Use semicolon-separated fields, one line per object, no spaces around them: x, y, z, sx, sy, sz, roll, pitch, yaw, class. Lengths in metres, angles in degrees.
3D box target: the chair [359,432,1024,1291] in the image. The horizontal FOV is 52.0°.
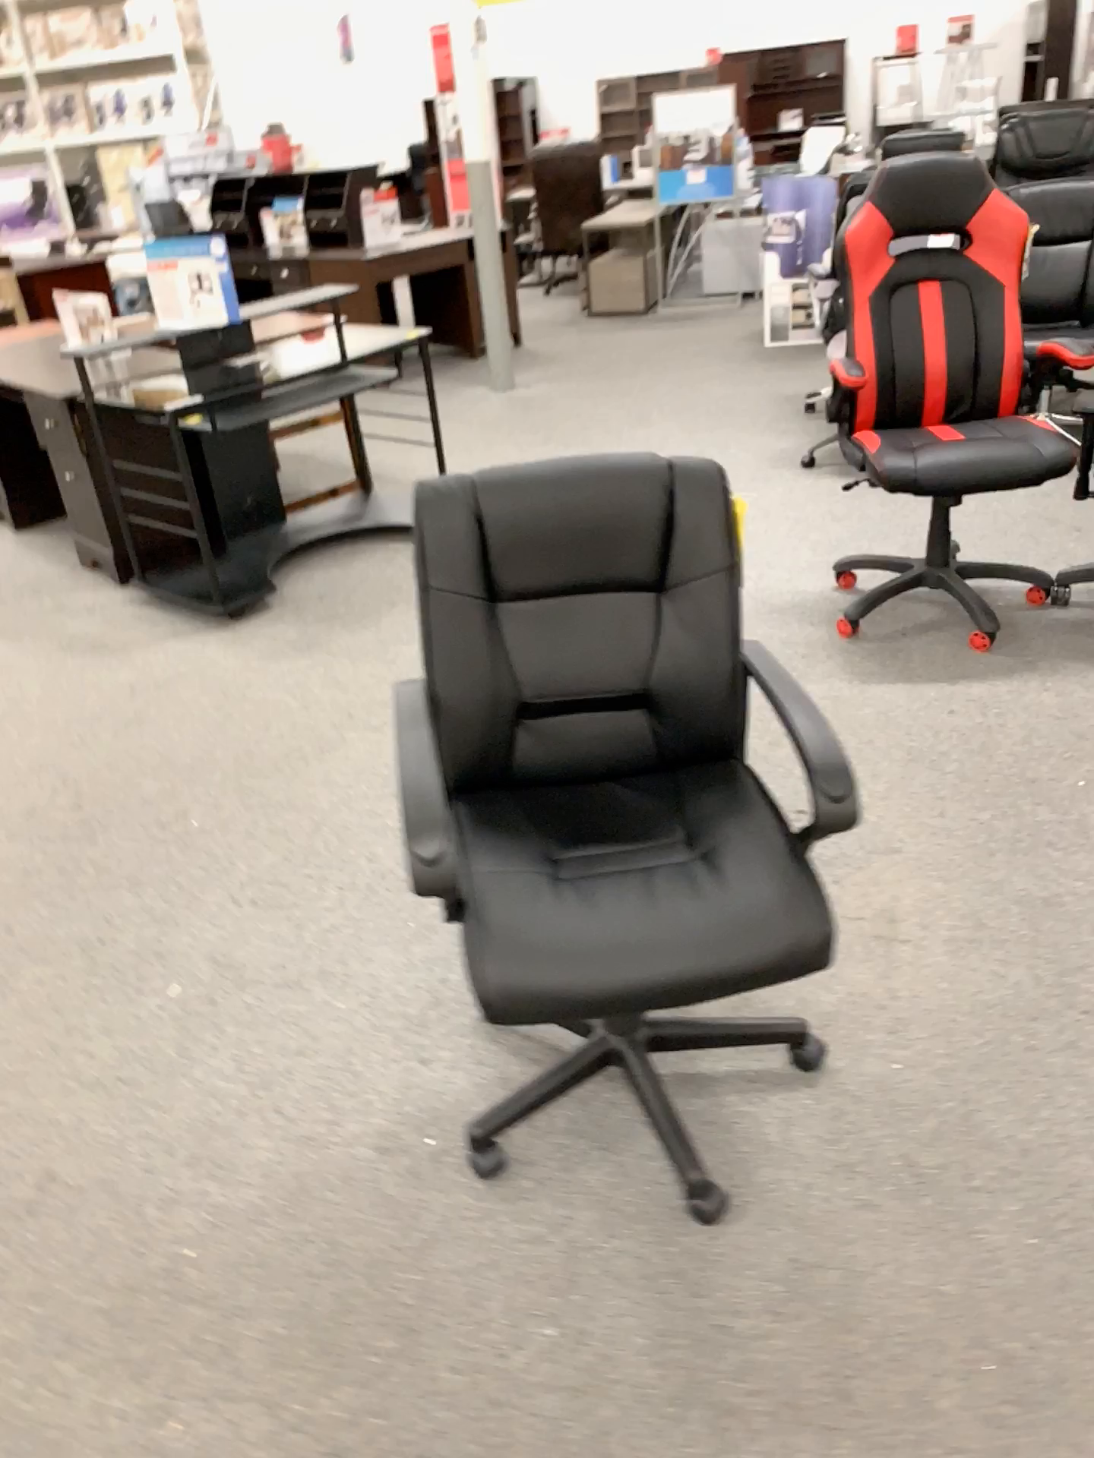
0.129;0.156;1.660;0.680;0.965;0.704;-6;29;-5;chair
